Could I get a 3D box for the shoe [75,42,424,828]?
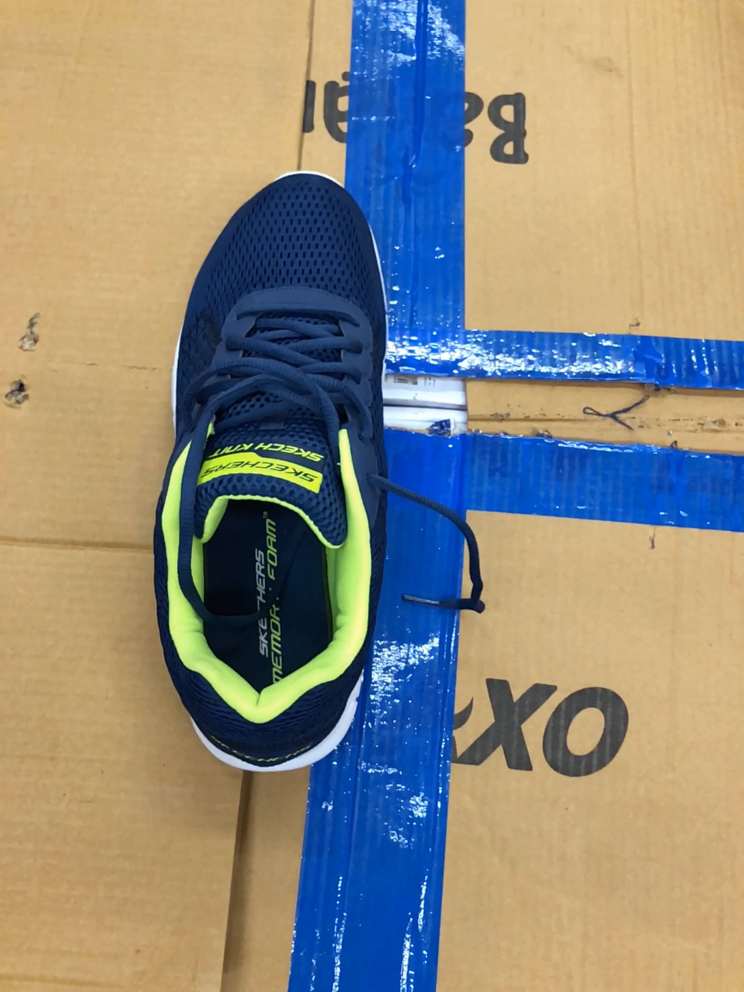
[{"bbox_3d":[-0.040,-0.023,0.356,0.110,0.130,0.290,0,77,-1],"label":"shoe"}]
